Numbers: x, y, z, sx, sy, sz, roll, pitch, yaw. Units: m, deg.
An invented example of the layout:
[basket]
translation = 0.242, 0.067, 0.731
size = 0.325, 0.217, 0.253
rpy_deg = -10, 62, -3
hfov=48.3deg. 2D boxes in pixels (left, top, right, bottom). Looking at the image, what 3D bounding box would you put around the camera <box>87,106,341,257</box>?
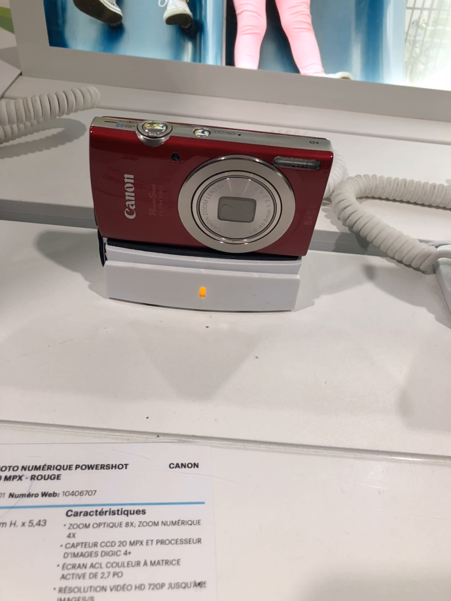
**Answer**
[camera]
translation = -0.006, -0.047, 0.207
size = 0.092, 0.050, 0.022
rpy_deg = 4, 44, -3
